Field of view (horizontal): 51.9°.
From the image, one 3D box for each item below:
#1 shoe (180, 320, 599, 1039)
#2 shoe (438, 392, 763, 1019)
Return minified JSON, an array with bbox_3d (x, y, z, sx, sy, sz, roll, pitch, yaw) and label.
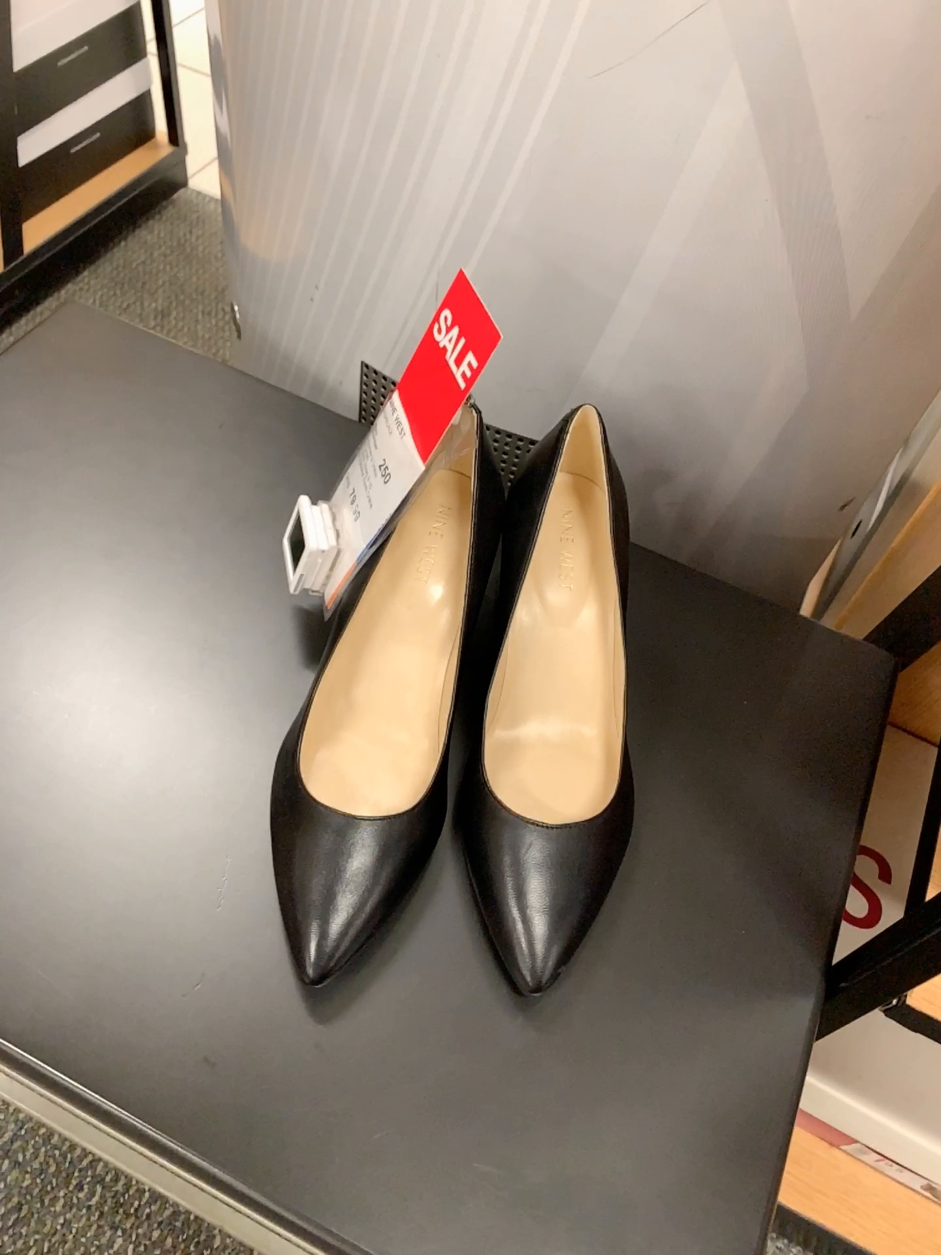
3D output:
[{"bbox_3d":[-0.027,0.024,0.442,0.100,0.189,0.251,13,54,1],"label":"shoe"},{"bbox_3d":[0.057,0.042,0.500,0.100,0.189,0.251,9,54,-3],"label":"shoe"}]
